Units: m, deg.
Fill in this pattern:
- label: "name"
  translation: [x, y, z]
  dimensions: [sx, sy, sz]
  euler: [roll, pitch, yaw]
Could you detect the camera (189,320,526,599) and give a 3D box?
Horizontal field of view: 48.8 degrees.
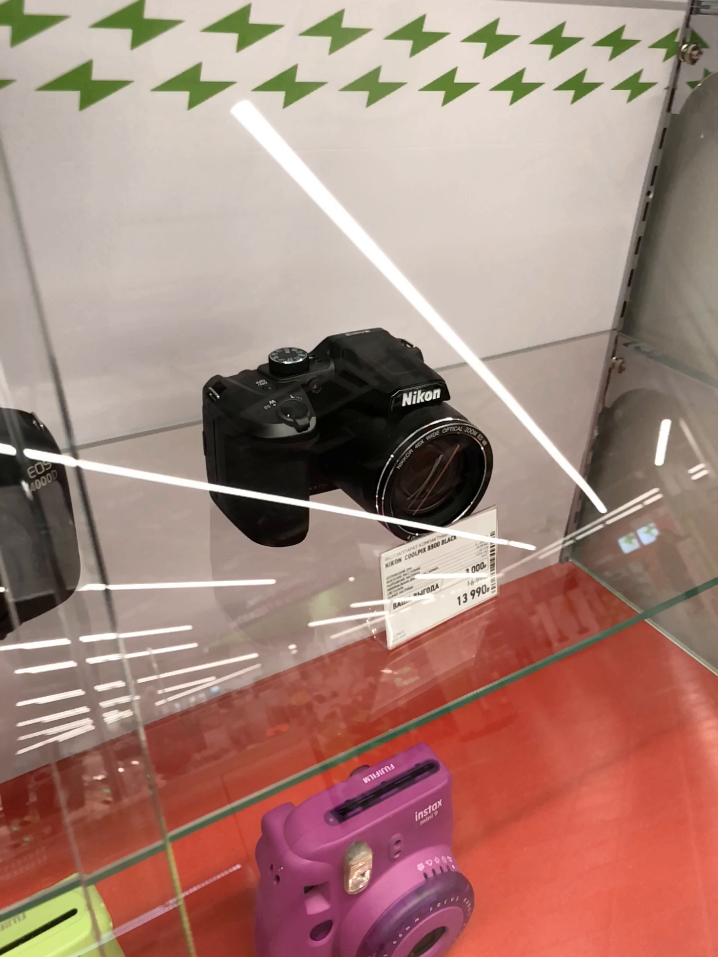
- label: "camera"
  translation: [-0.005, -0.017, 0.370]
  dimensions: [0.115, 0.070, 0.100]
  euler: [-14, 35, -28]
